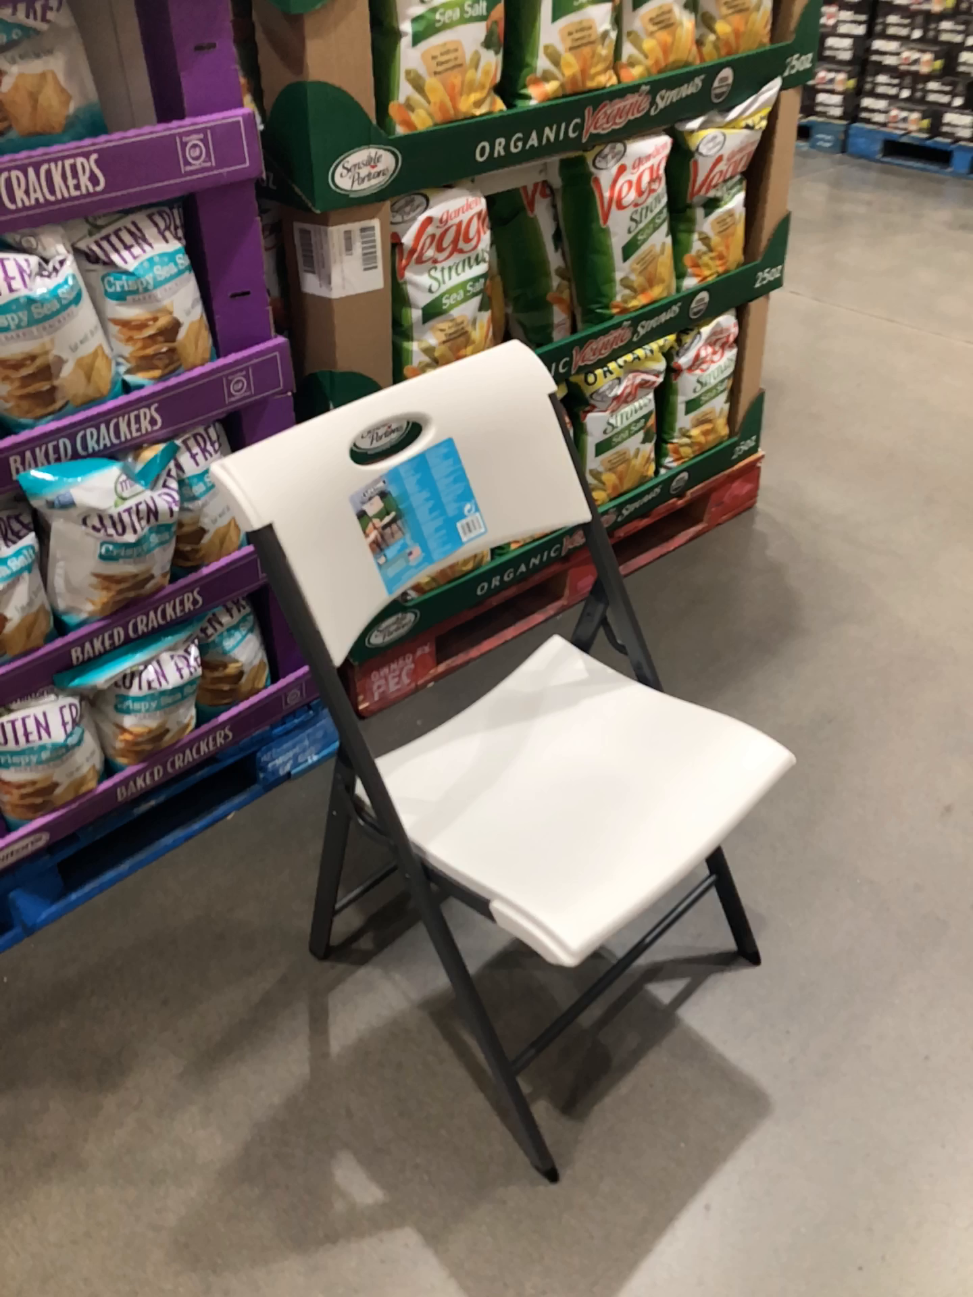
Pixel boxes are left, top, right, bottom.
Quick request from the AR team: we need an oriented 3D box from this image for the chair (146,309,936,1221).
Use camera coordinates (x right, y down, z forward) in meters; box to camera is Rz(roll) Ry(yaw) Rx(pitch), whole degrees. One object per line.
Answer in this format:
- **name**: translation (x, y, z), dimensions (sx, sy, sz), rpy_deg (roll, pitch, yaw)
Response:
- **chair**: translation (0.059, 0.110, 1.322), dimensions (0.547, 0.790, 0.595), rpy_deg (-32, 46, -33)
